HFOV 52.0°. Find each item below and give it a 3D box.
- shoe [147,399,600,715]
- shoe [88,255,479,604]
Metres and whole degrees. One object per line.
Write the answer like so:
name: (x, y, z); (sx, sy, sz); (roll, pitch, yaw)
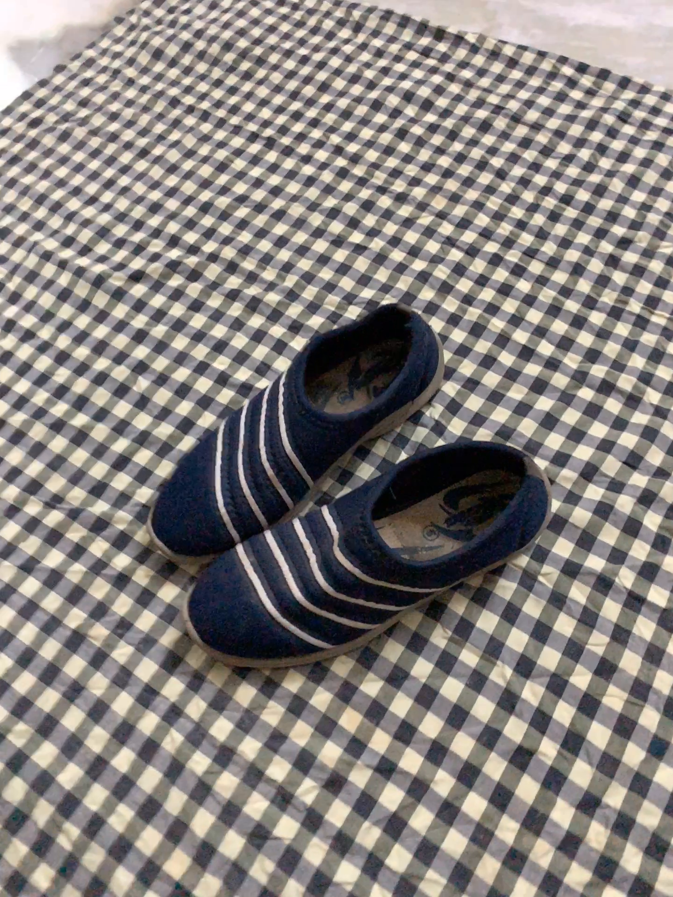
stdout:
shoe: (0.023, 0.073, 0.448); (0.250, 0.100, 0.090); (-21, 63, -7)
shoe: (-0.028, -0.016, 0.487); (0.250, 0.090, 0.090); (-37, 66, -14)
